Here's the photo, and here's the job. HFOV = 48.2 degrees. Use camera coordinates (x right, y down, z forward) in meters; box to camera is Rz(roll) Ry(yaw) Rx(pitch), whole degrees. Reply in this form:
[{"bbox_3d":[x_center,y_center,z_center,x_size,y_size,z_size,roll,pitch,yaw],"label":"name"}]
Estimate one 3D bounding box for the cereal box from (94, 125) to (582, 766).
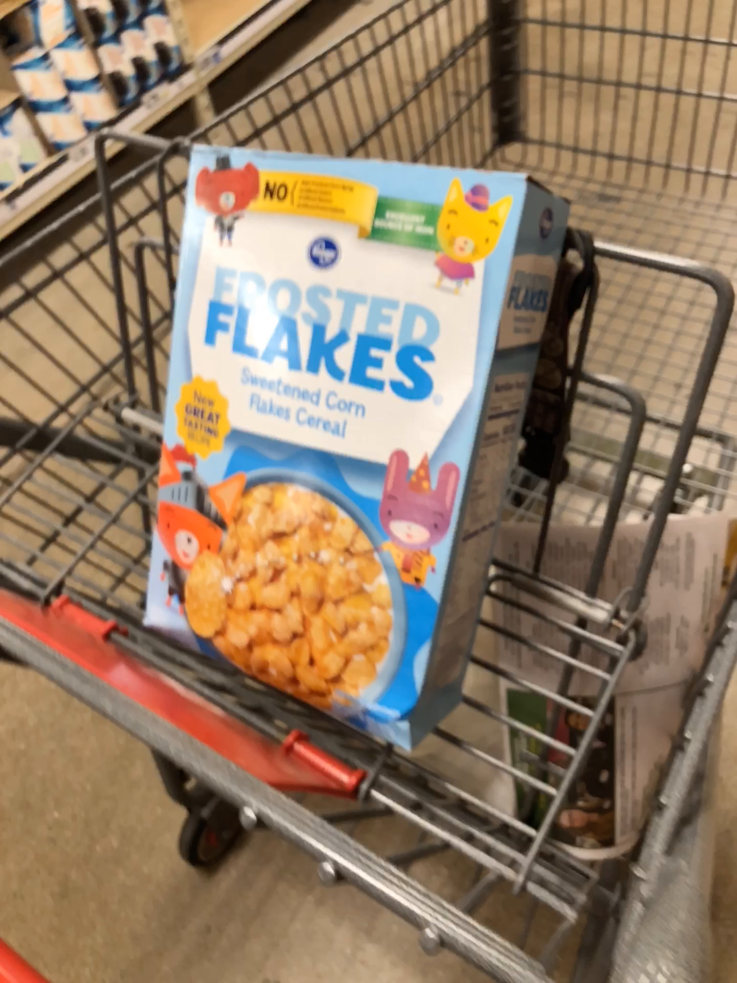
[{"bbox_3d":[-0.028,-0.030,0.432,0.200,0.270,0.070,17,15,23],"label":"cereal box"}]
